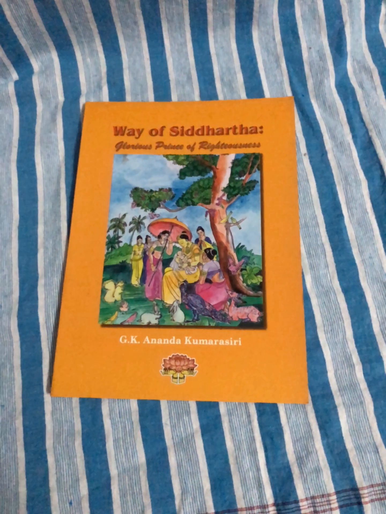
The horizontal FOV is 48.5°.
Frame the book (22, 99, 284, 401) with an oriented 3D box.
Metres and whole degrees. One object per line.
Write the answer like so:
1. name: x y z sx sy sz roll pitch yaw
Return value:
1. book: -0.025 -0.016 0.316 0.170 0.010 0.230 0 73 1
